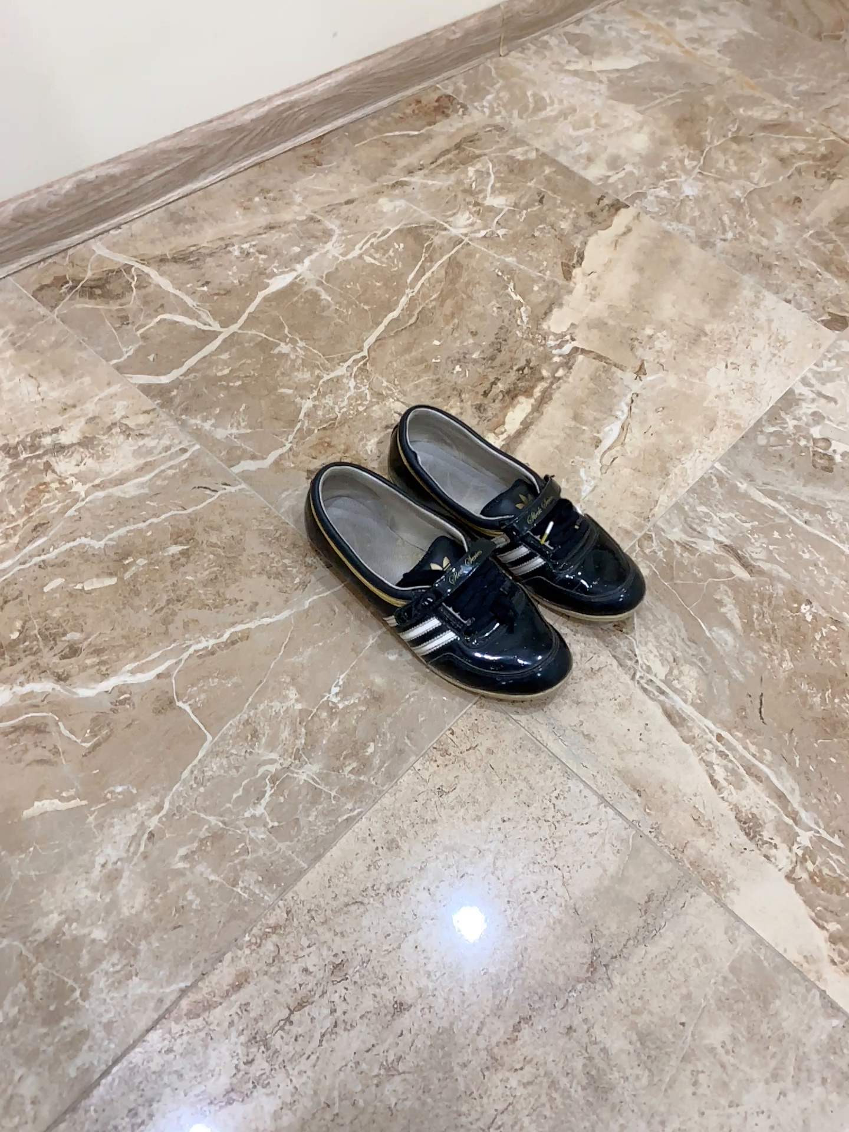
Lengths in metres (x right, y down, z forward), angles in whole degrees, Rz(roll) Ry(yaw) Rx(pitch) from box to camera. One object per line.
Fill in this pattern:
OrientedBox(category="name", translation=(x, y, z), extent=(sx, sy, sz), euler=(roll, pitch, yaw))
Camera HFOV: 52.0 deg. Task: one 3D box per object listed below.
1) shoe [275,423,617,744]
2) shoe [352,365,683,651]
OrientedBox(category="shoe", translation=(0.009, 0.007, 0.636), extent=(0.240, 0.060, 0.095), euler=(40, 59, 17))
OrientedBox(category="shoe", translation=(0.068, -0.051, 0.683), extent=(0.240, 0.060, 0.096), euler=(36, 58, 15))
